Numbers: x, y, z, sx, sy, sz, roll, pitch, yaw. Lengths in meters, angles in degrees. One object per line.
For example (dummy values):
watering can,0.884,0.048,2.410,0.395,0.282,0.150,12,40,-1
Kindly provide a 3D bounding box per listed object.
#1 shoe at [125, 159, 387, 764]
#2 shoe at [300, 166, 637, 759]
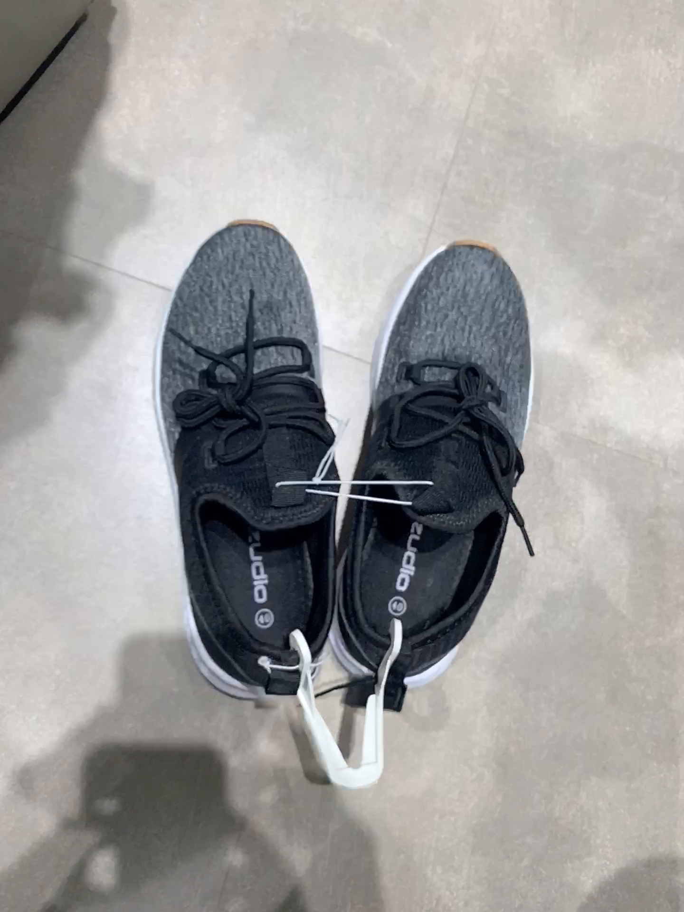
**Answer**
shoe,-0.049,-0.001,0.379,0.106,0.096,0.278,-3,84,-9
shoe,0.066,0.003,0.400,0.107,0.096,0.278,15,82,-7
